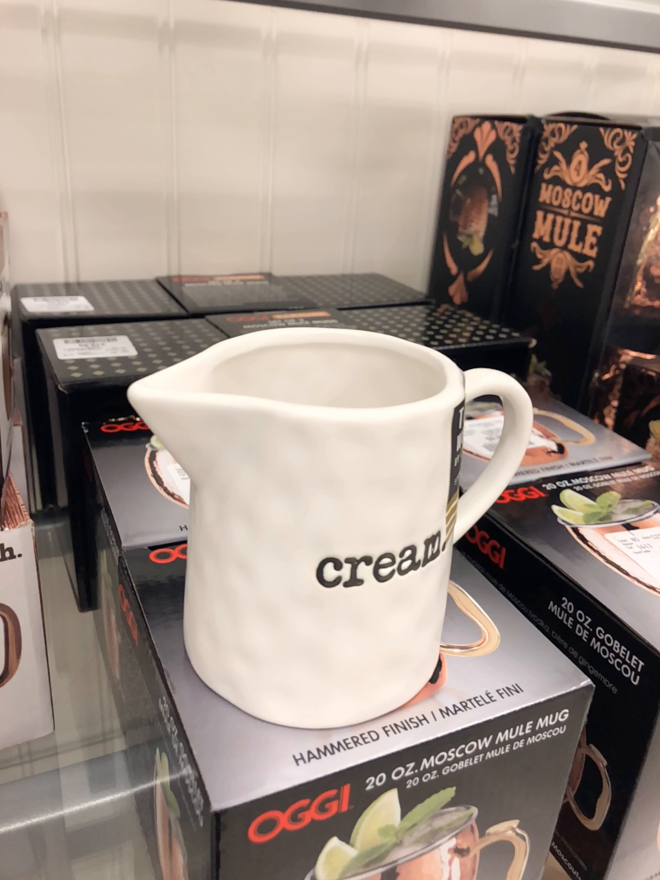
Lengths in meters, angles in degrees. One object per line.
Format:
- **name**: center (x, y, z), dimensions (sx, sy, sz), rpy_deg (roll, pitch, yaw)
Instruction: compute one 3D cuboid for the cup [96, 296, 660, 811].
- **cup**: center (0.015, 0.015, 0.185), dimensions (0.125, 0.080, 0.063), rpy_deg (-11, 28, -29)
